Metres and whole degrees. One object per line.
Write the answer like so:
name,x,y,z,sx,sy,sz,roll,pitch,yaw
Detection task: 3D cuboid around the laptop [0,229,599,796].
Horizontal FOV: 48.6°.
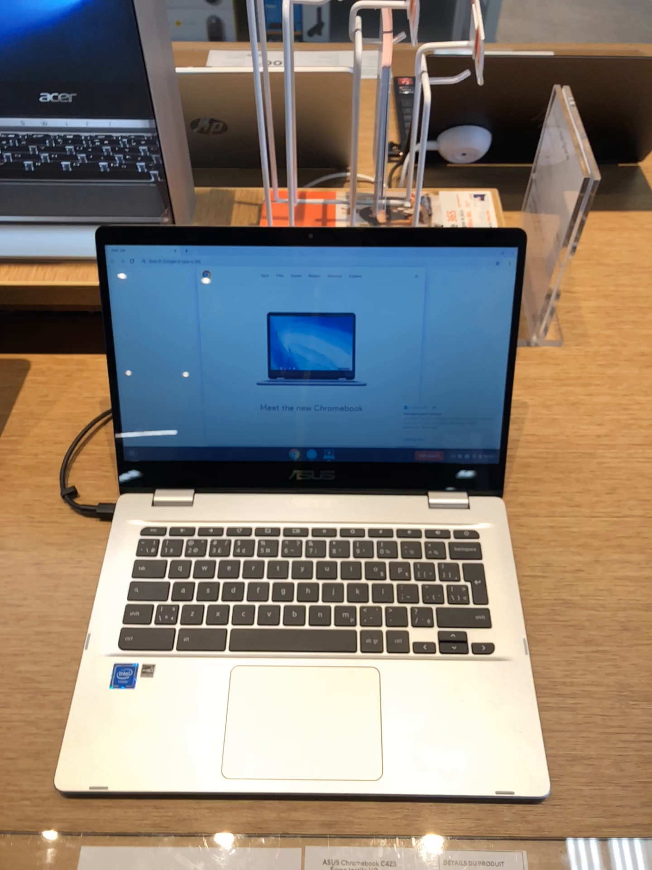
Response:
laptop,-0.031,0.040,0.488,0.281,0.186,0.337,-1,51,-3
